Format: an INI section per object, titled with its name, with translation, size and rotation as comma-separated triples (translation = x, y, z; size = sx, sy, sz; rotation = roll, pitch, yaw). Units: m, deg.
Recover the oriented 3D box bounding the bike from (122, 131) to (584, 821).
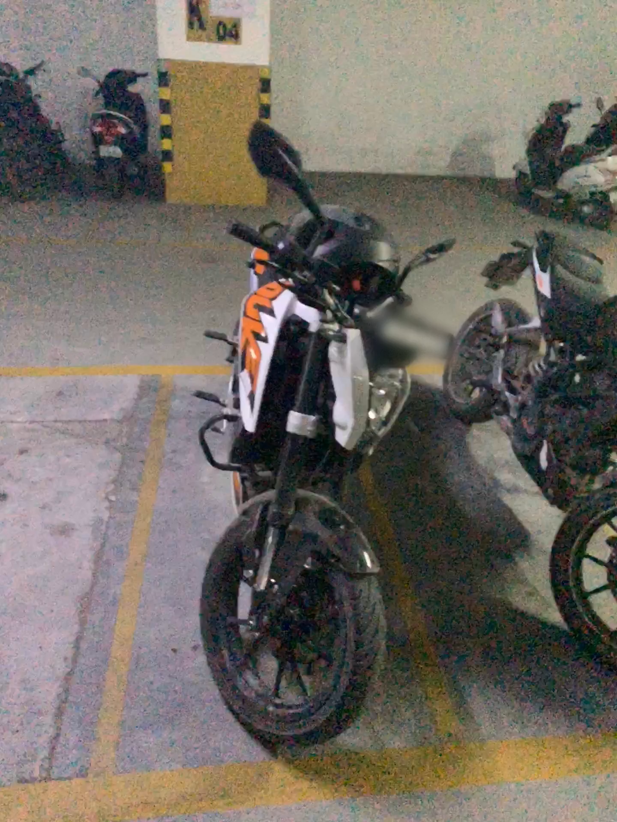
[bike]
translation = -0.044, -0.060, 2.111
size = 0.803, 1.181, 1.922
rotation = -1, 35, -8
